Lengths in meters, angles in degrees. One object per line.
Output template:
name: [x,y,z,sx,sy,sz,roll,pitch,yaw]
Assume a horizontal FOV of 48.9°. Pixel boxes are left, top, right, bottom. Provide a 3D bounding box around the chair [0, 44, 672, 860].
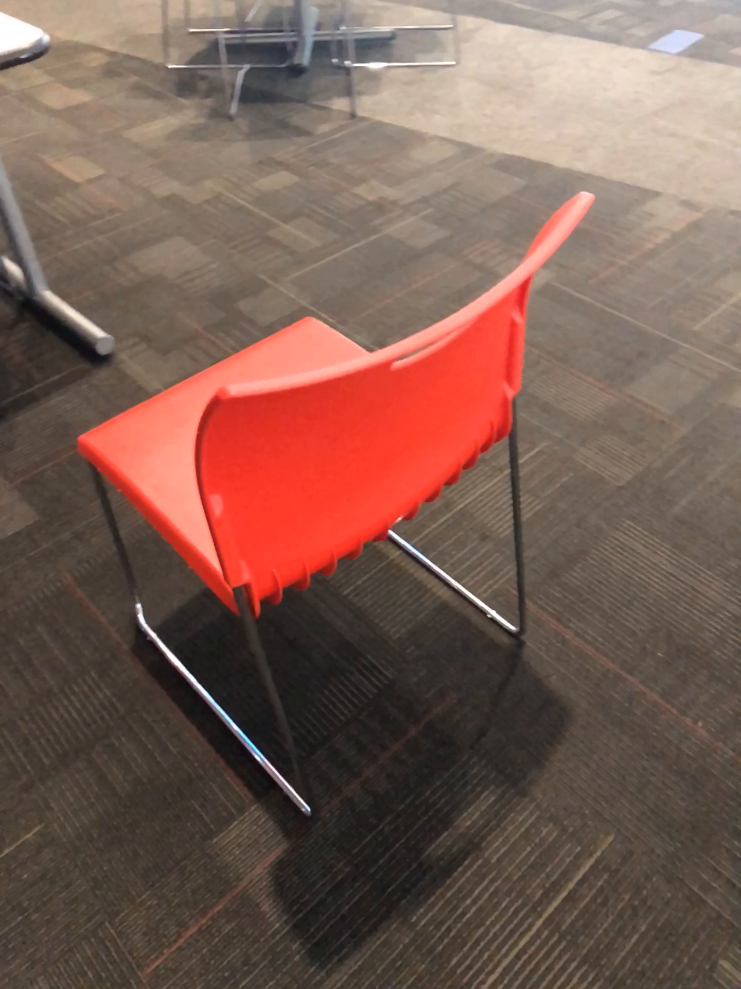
chair: [-0.098,-0.069,1.127,0.561,0.767,0.612,-34,53,-27]
